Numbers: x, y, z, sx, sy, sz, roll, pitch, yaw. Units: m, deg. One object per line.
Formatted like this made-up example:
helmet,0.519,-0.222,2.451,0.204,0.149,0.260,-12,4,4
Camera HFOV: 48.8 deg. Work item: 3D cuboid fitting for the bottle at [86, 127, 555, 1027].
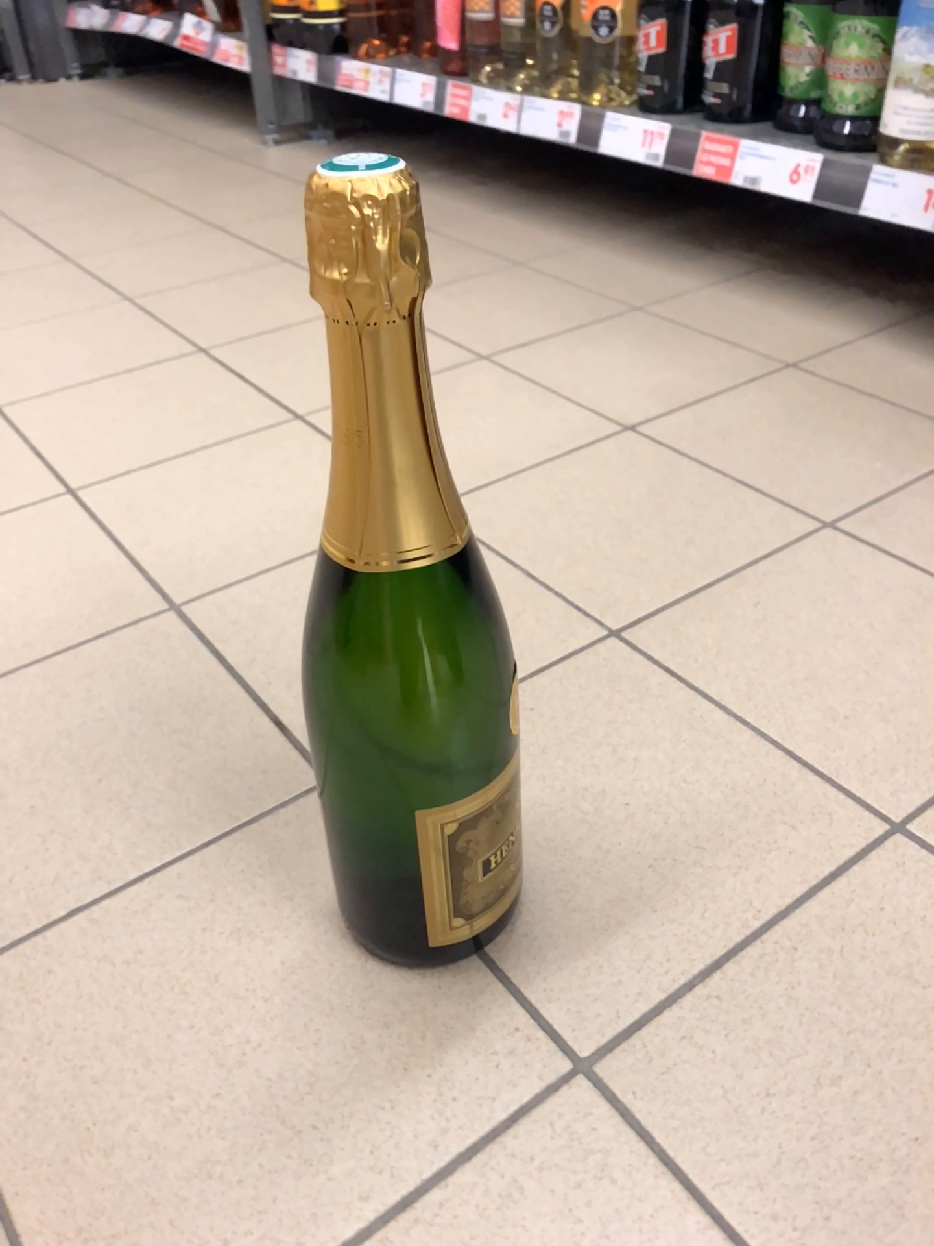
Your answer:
bottle,-0.026,0.001,0.368,0.100,0.308,0.101,-2,36,1
